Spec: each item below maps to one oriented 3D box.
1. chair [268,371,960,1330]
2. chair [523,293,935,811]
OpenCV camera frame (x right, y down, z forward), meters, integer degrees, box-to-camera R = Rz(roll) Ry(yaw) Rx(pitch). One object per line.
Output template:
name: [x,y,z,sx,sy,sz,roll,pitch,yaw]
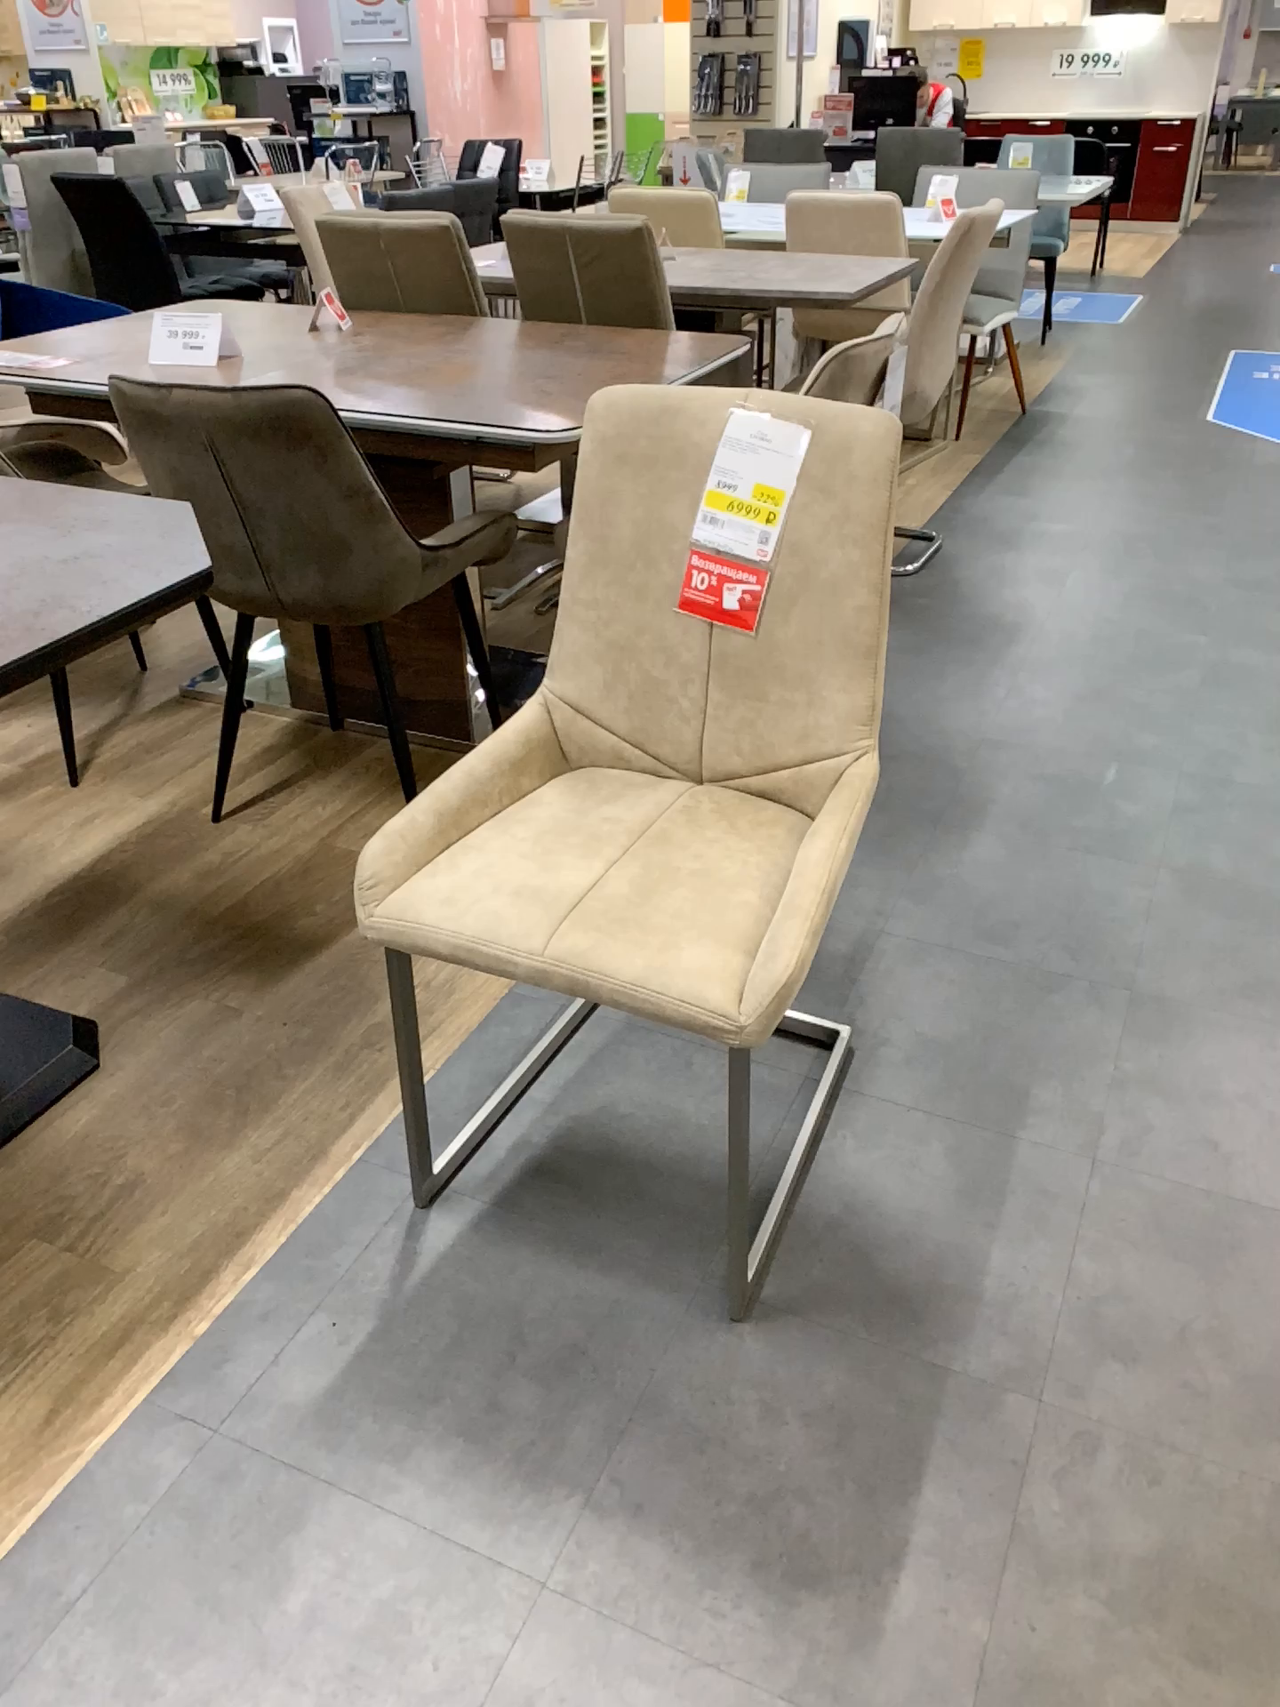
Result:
chair: [0.018,-0.040,1.553,0.510,0.887,0.586,12,32,21]
chair: [0.182,-0.621,2.612,0.624,0.842,0.482,12,33,22]
